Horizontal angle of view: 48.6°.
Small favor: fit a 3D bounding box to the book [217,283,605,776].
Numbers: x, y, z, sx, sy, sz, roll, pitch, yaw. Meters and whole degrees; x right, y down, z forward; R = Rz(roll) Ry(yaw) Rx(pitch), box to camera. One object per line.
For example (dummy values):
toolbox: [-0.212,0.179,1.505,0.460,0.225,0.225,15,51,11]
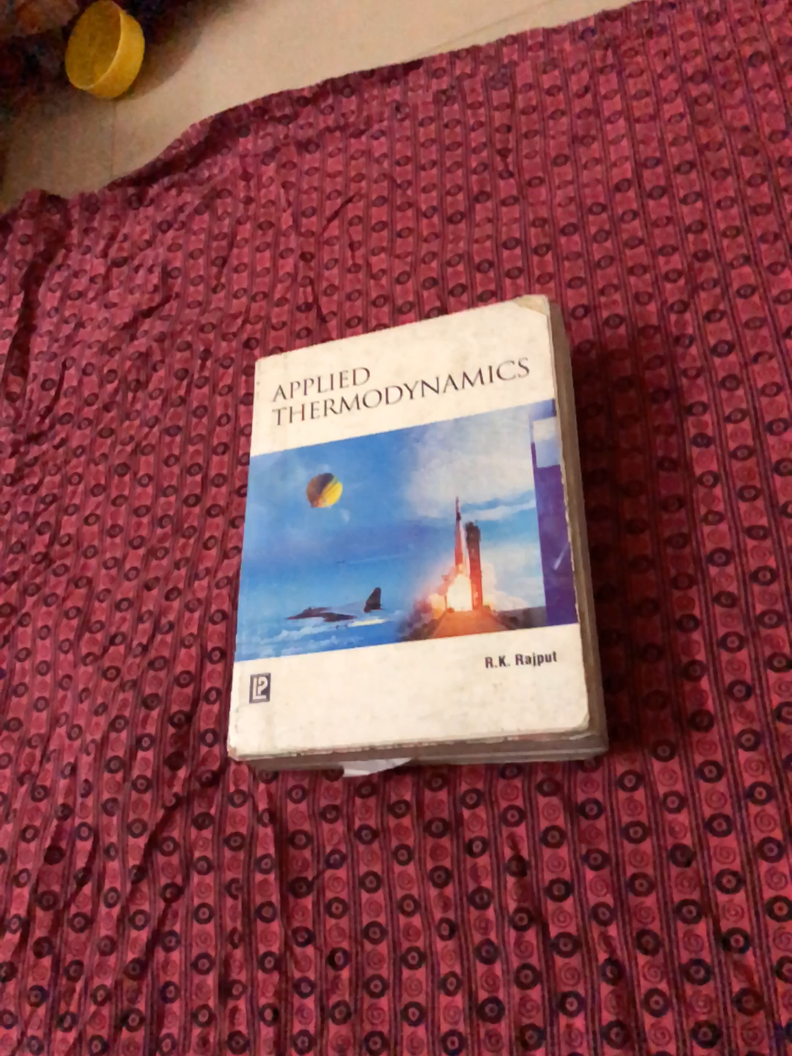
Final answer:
book: [0.007,0.002,0.474,0.179,0.060,0.240,-8,65,18]
